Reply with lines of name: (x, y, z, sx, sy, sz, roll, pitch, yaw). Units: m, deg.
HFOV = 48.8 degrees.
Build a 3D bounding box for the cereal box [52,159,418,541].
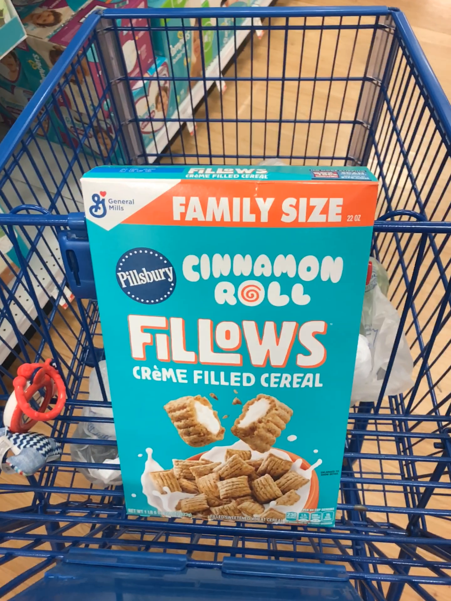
cereal box: (0.006, 0.048, 0.373, 0.210, 0.290, 0.060, 1, 25, 3)
